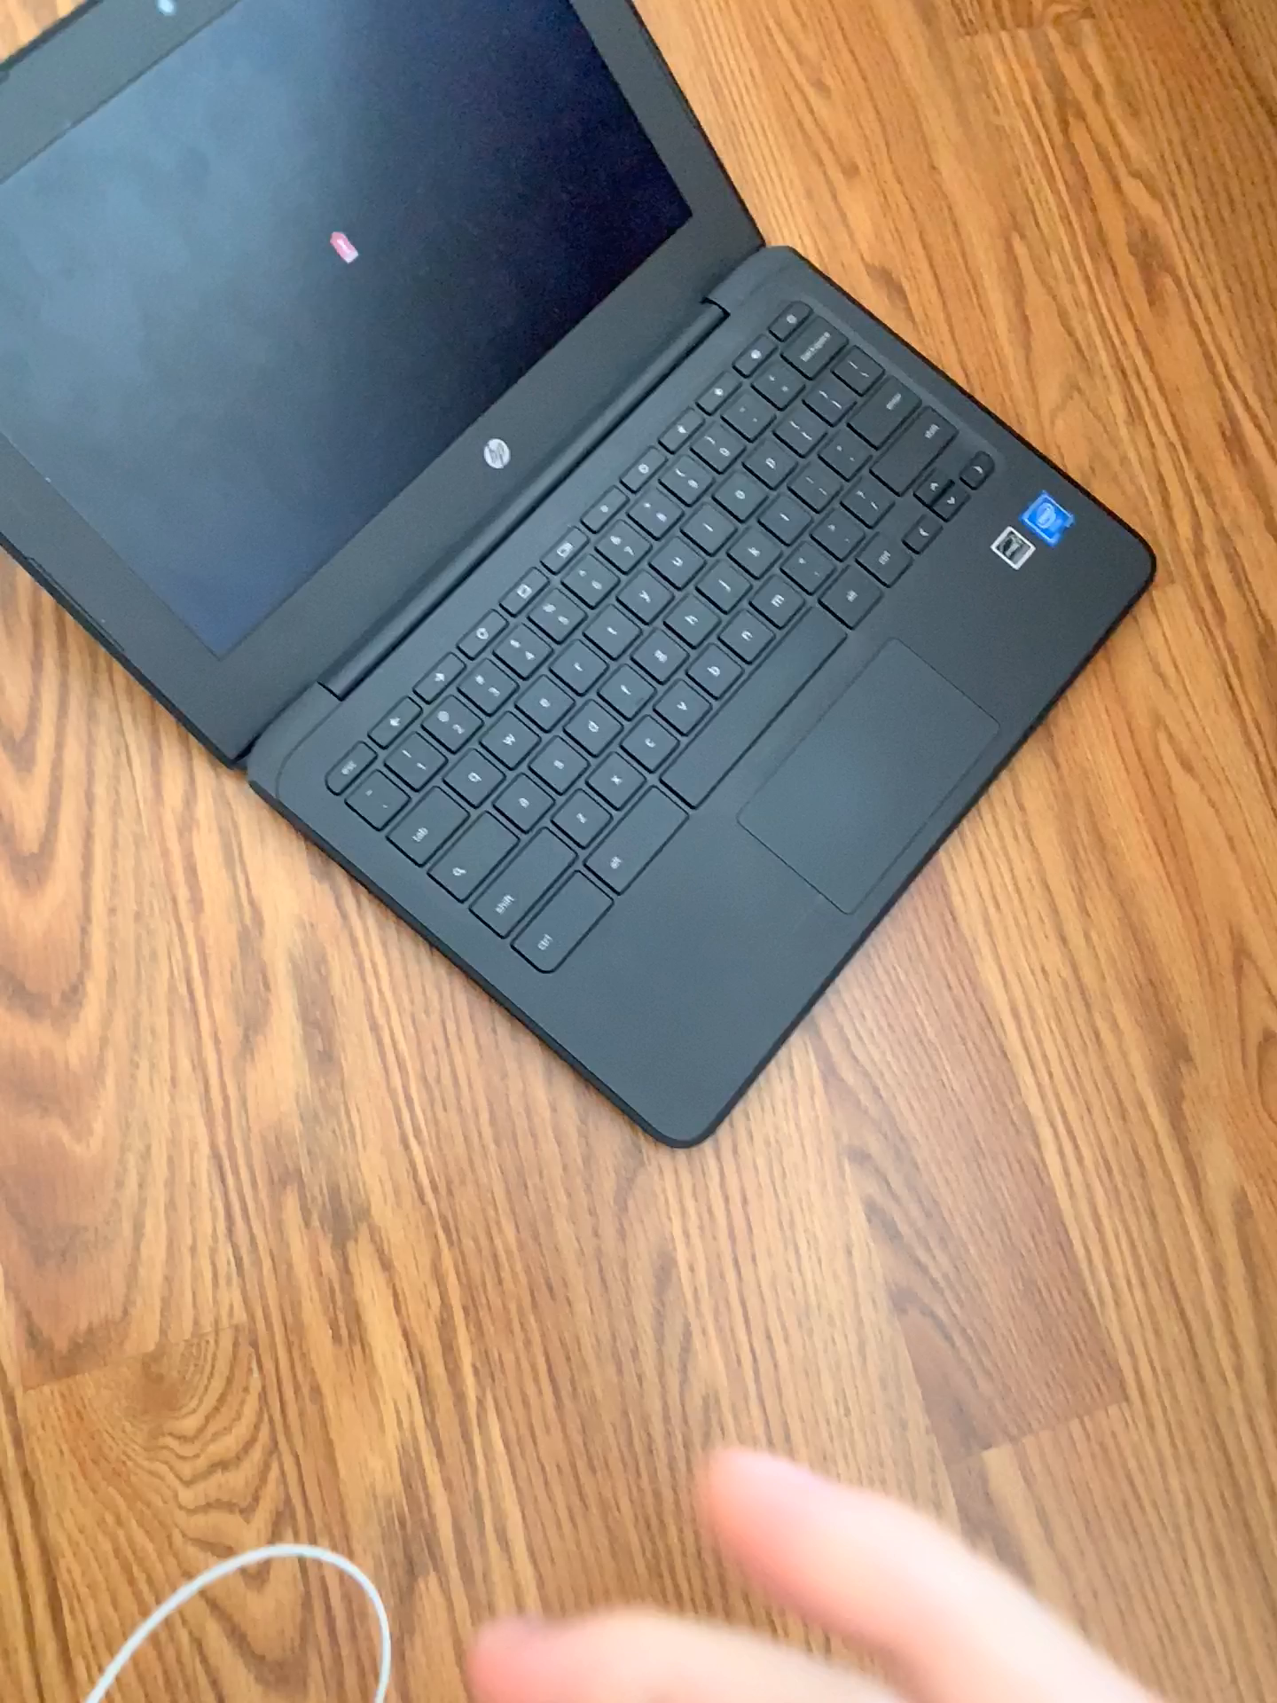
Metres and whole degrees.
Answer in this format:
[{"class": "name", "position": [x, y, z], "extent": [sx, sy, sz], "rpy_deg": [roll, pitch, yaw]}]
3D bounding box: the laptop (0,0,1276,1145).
[{"class": "laptop", "position": [-0.019, -0.137, 0.443], "extent": [0.360, 0.110, 0.299], "rpy_deg": [40, 74, 3]}]
